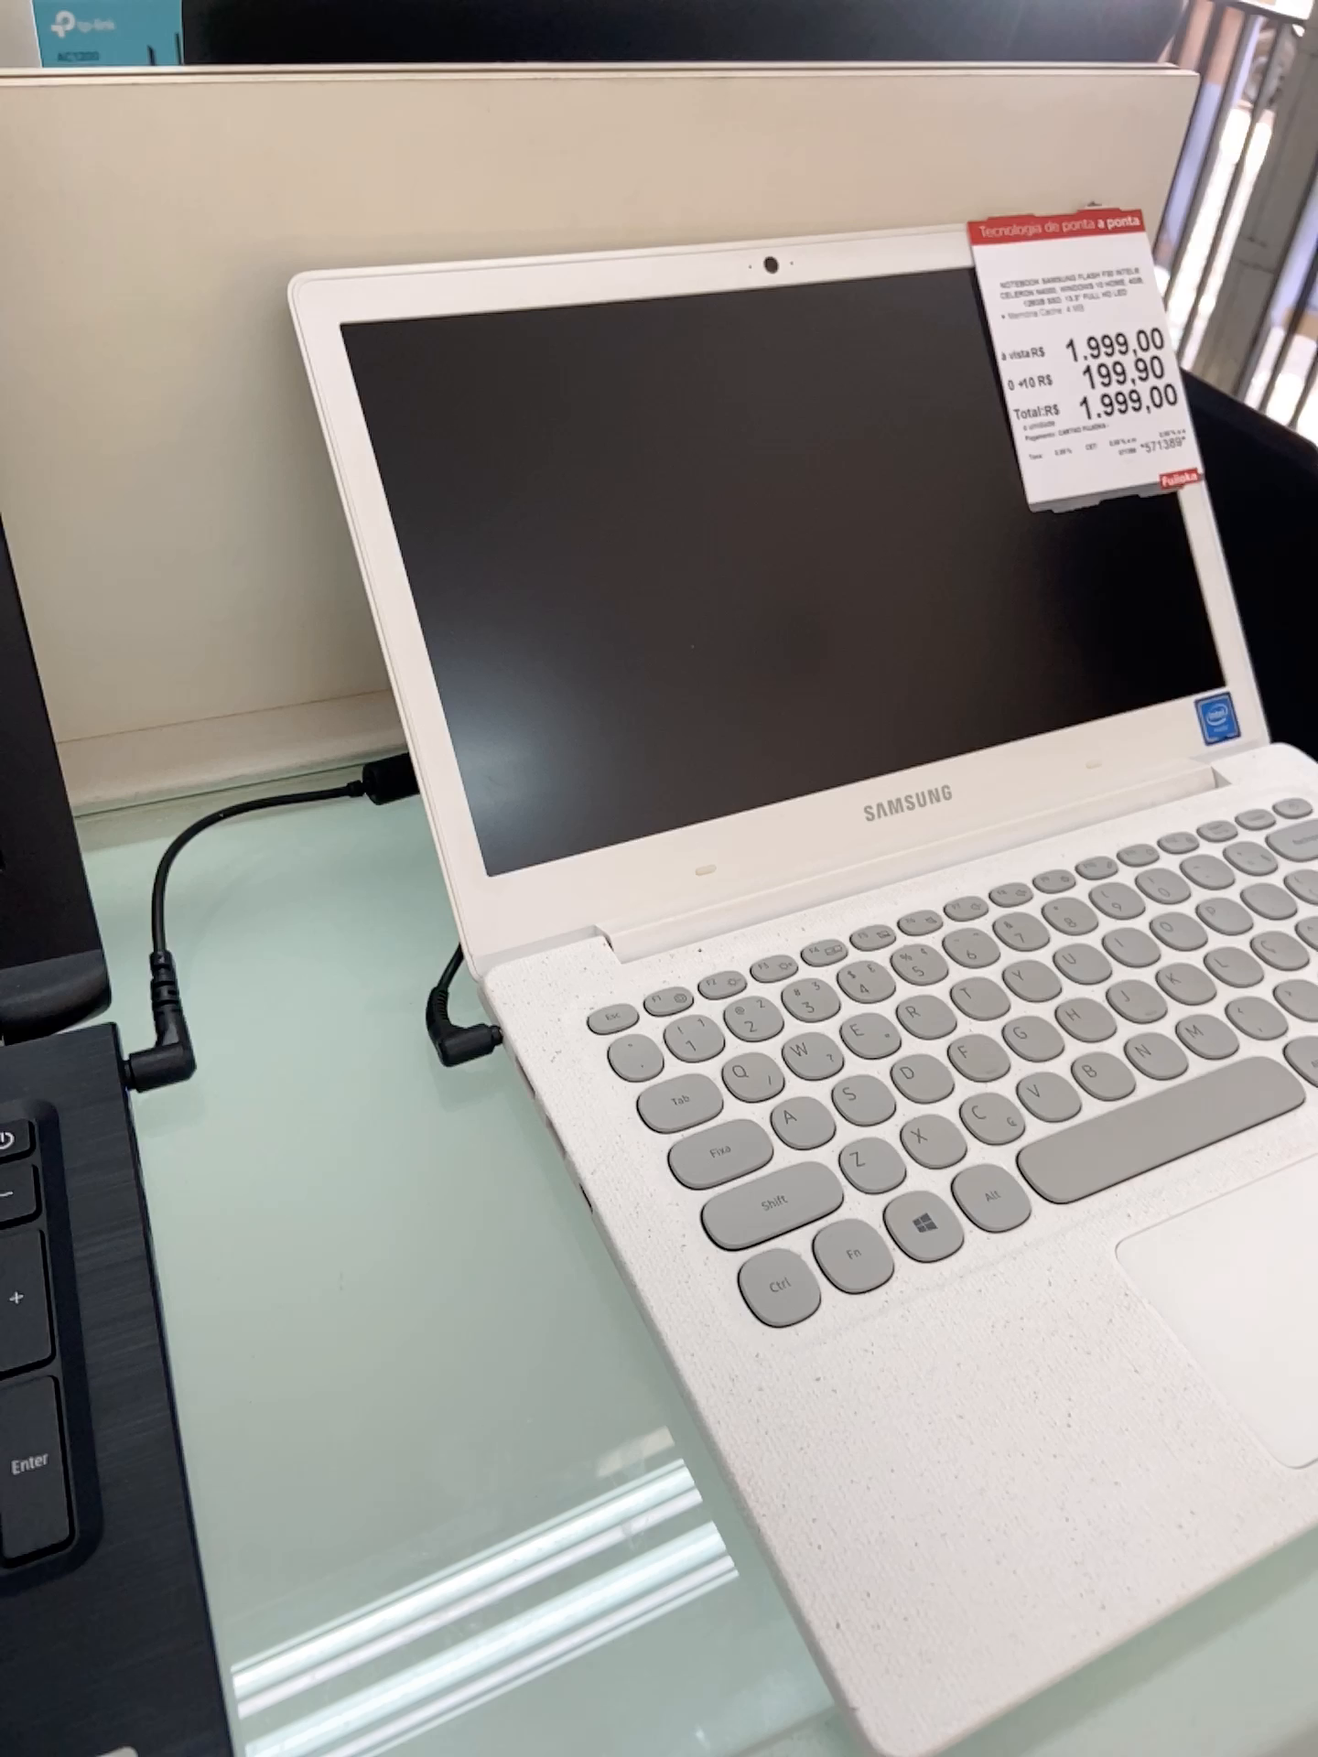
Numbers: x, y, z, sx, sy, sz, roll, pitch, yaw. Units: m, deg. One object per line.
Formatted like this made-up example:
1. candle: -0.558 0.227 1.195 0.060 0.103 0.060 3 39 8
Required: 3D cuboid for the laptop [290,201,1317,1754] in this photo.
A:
1. laptop: 0.108 -0.048 0.376 0.315 0.140 0.361 -15 46 -22
